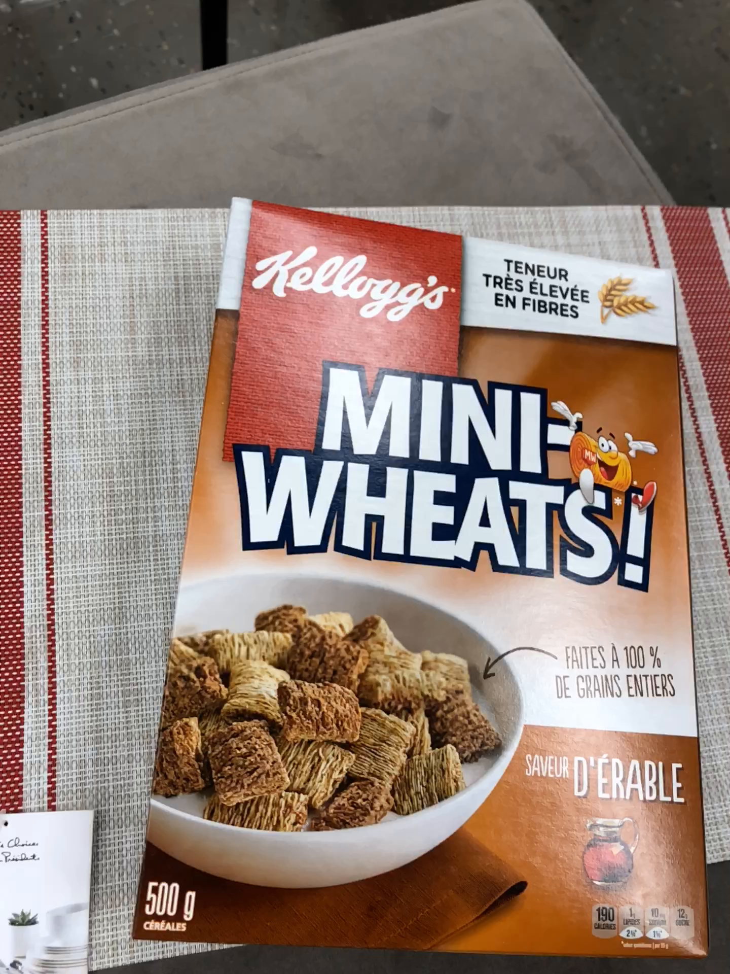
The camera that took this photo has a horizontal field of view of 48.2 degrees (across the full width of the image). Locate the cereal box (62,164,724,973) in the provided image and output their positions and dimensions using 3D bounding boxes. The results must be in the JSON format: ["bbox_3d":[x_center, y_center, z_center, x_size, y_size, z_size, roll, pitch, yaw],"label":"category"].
[{"bbox_3d":[0.020,0.028,0.322,0.210,0.060,0.280,7,73,-8],"label":"cereal box"}]
